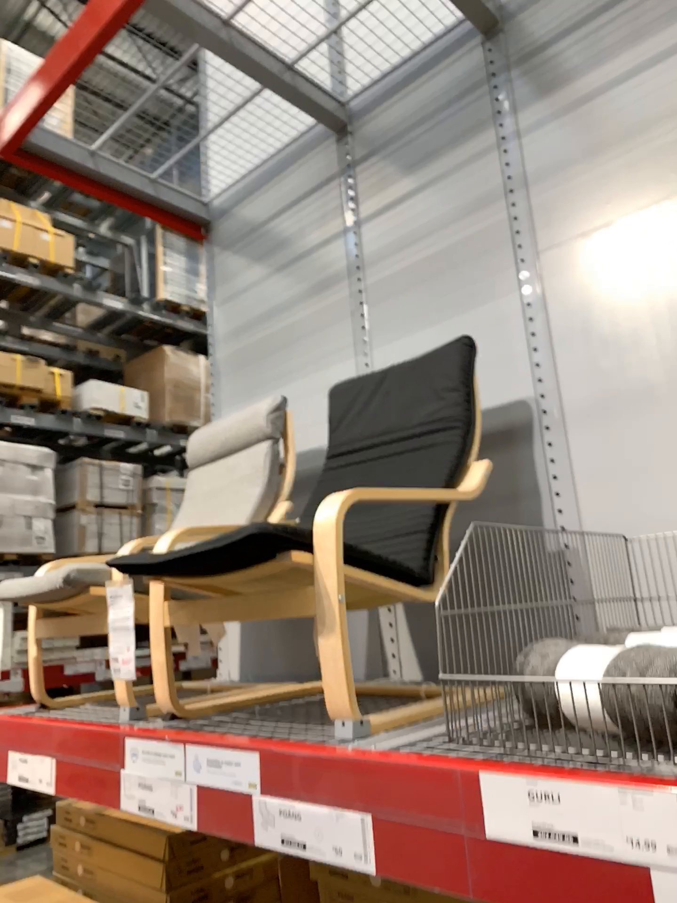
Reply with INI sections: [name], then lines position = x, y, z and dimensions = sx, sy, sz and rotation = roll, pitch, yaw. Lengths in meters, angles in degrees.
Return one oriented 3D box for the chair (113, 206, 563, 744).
[chair]
position = -0.016, 0.120, 1.826
dimensions = 0.719, 1.013, 0.838
rotation = -16, -18, 40
